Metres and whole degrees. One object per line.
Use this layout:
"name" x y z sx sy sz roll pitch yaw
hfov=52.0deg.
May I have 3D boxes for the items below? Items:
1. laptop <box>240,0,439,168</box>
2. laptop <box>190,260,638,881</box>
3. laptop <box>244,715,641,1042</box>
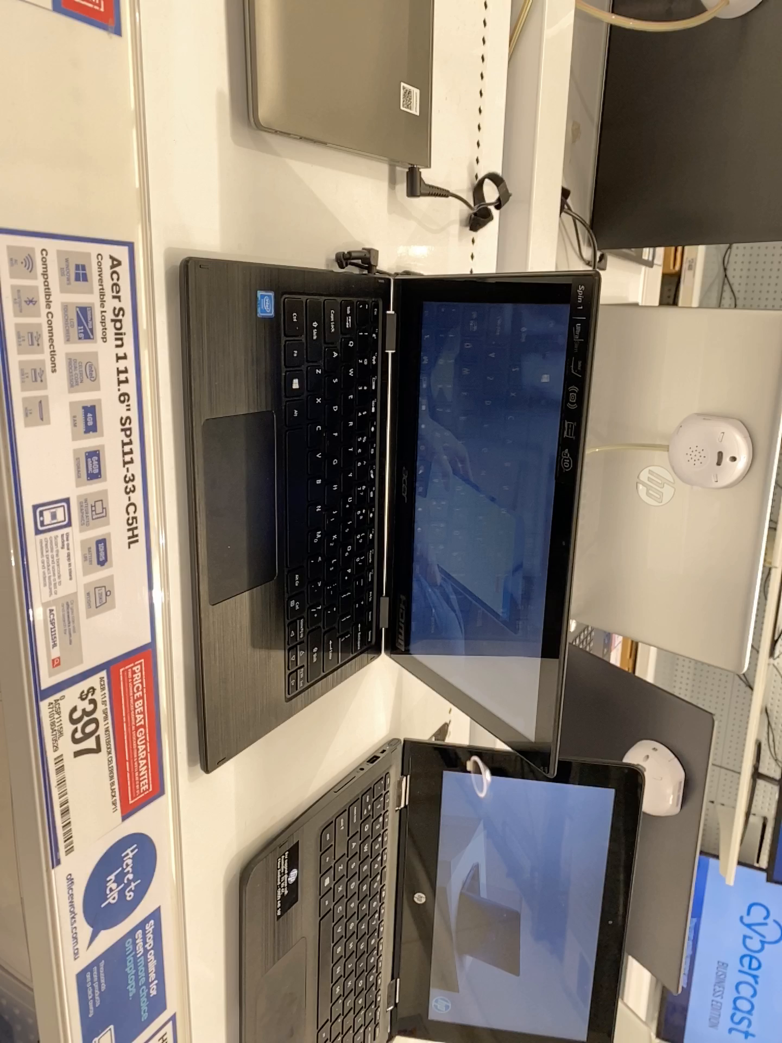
"laptop" -0.020 -0.374 0.481 0.195 0.001 0.284 -22 115 -56
"laptop" 0.019 0.004 0.482 0.197 0.174 0.290 -21 117 -57
"laptop" 0.060 0.382 0.662 0.298 0.190 0.323 -22 117 -56
